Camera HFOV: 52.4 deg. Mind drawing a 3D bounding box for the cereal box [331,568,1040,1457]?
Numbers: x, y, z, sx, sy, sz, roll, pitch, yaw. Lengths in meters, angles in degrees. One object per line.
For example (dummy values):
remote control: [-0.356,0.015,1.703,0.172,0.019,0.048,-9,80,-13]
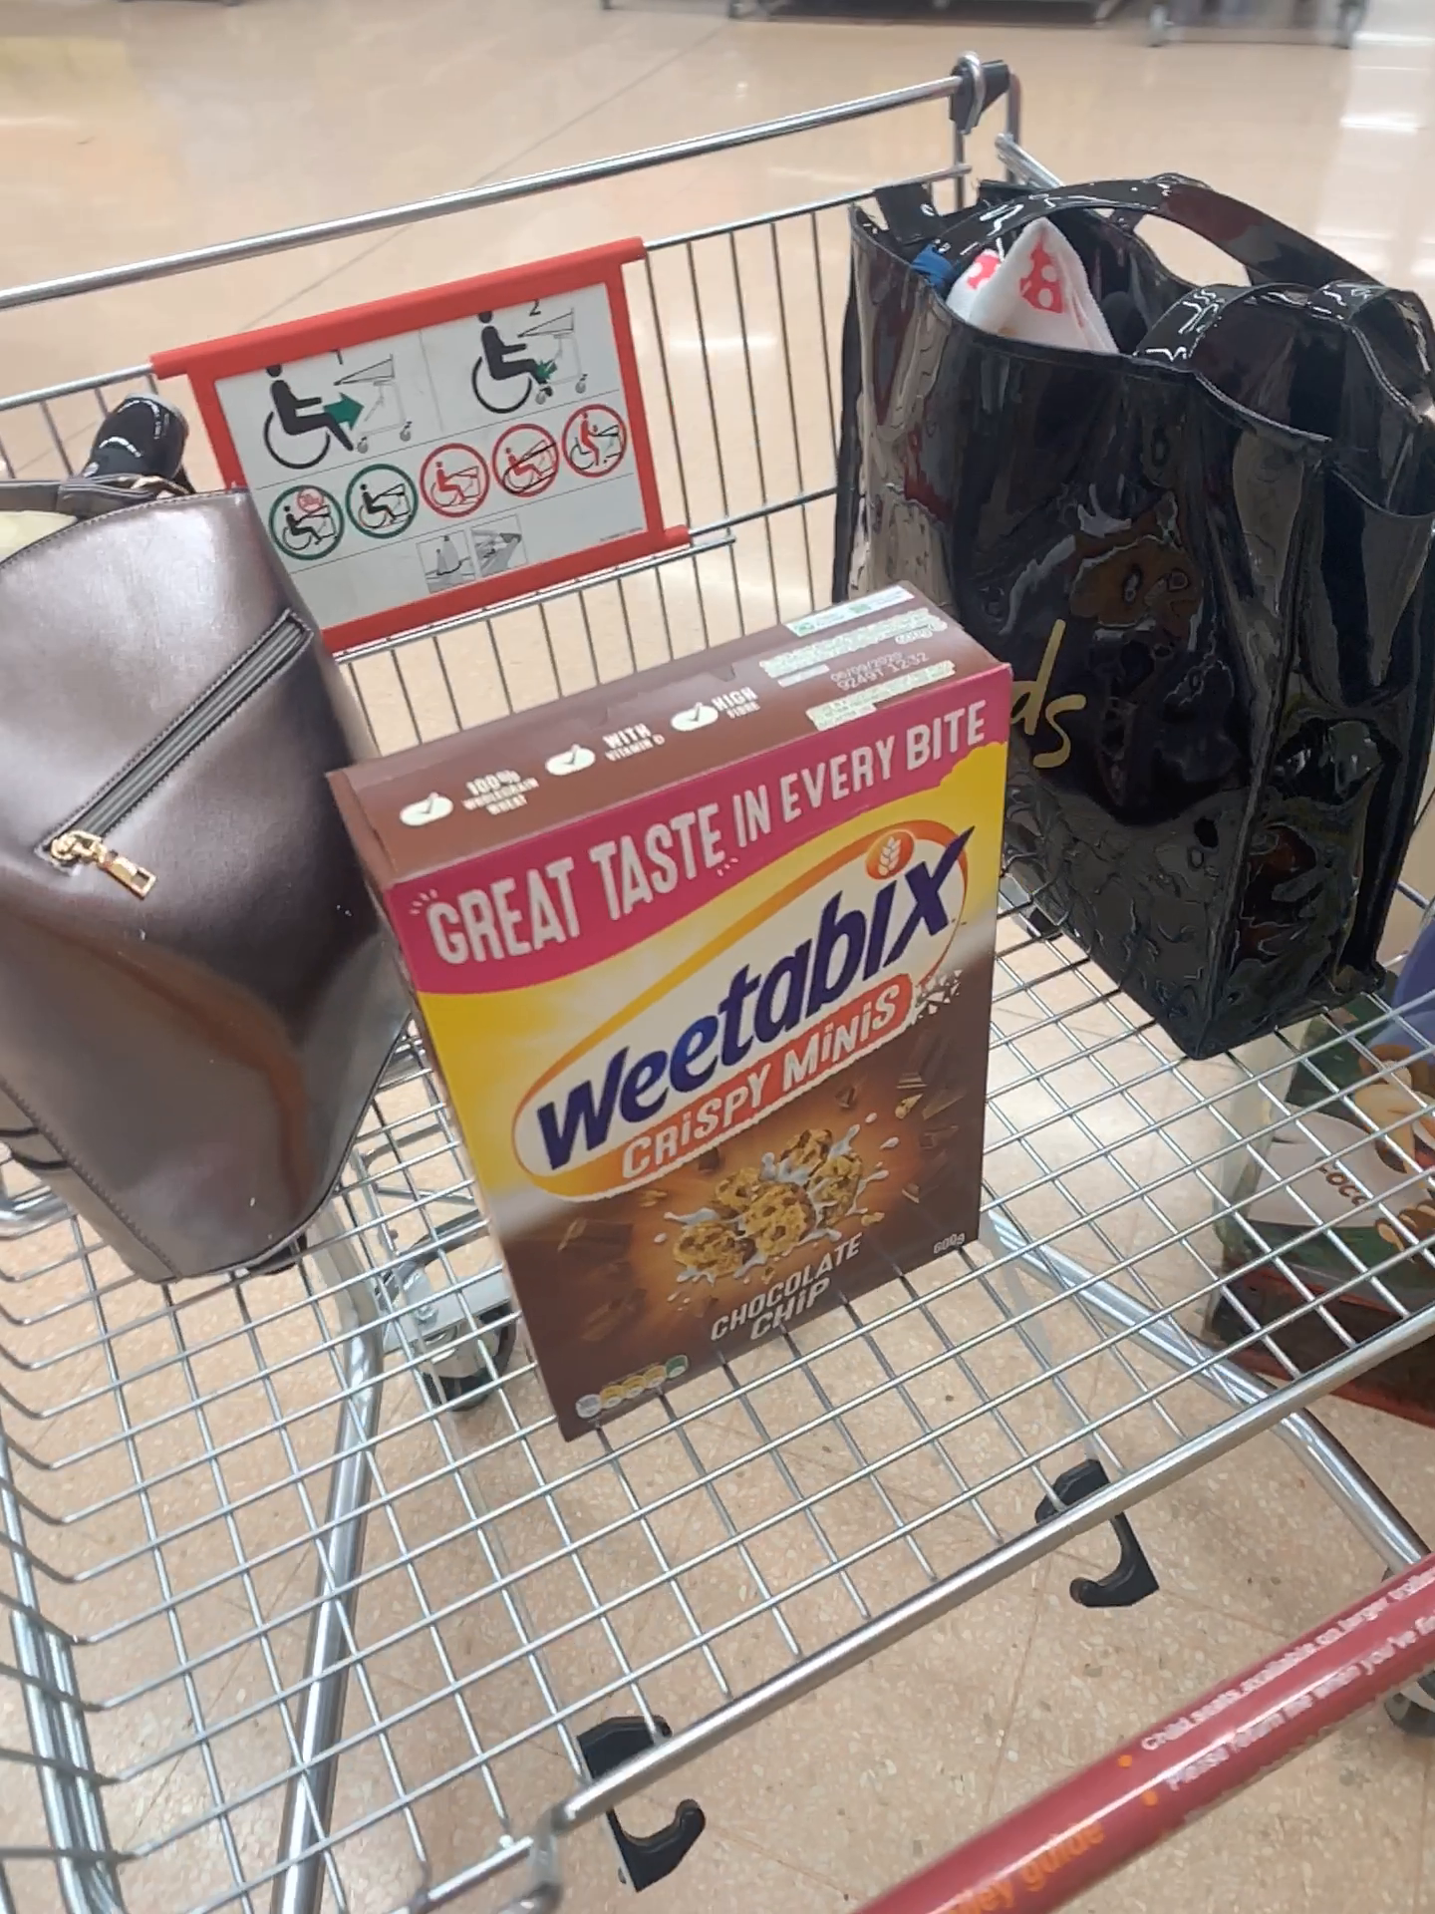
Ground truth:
cereal box: [0.002,0.032,0.497,0.190,0.277,0.060,-21,45,-17]
